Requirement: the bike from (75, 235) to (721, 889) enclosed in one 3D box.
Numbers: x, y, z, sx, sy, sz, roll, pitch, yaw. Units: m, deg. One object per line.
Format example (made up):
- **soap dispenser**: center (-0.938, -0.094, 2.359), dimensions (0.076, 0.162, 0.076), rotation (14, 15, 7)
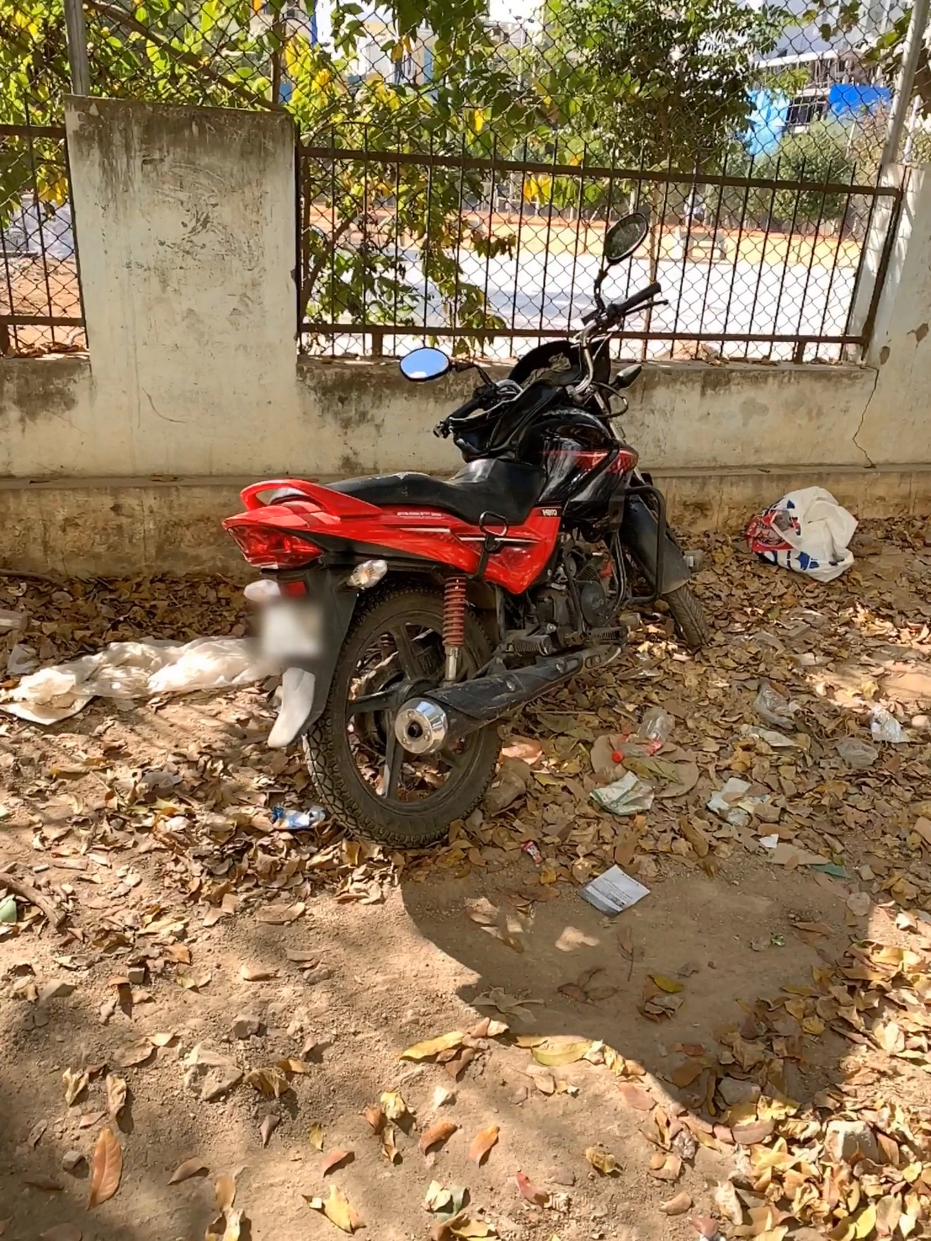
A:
- **bike**: center (-0.091, -0.302, 2.368), dimensions (0.823, 1.067, 1.294), rotation (18, 31, 30)
